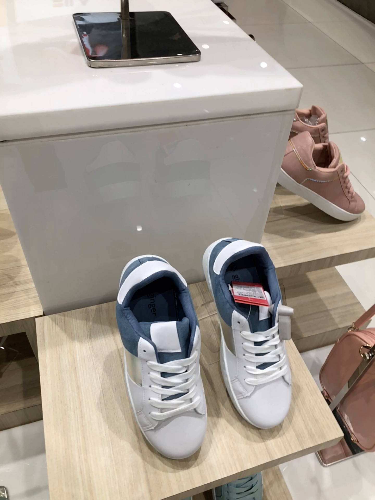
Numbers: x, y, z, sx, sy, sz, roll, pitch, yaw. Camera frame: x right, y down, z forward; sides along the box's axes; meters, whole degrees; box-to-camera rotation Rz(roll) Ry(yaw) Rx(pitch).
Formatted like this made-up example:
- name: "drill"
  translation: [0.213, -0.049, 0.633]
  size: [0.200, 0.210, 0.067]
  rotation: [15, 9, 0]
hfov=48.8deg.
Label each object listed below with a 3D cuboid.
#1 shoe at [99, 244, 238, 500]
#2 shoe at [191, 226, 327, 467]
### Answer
- name: "shoe"
  translation: [-0.026, 0.131, 0.491]
  size: [0.092, 0.261, 0.104]
  rotation: [-13, 6, -17]
- name: "shoe"
  translation: [0.087, 0.109, 0.525]
  size: [0.102, 0.263, 0.104]
  rotation: [-11, 7, -15]
